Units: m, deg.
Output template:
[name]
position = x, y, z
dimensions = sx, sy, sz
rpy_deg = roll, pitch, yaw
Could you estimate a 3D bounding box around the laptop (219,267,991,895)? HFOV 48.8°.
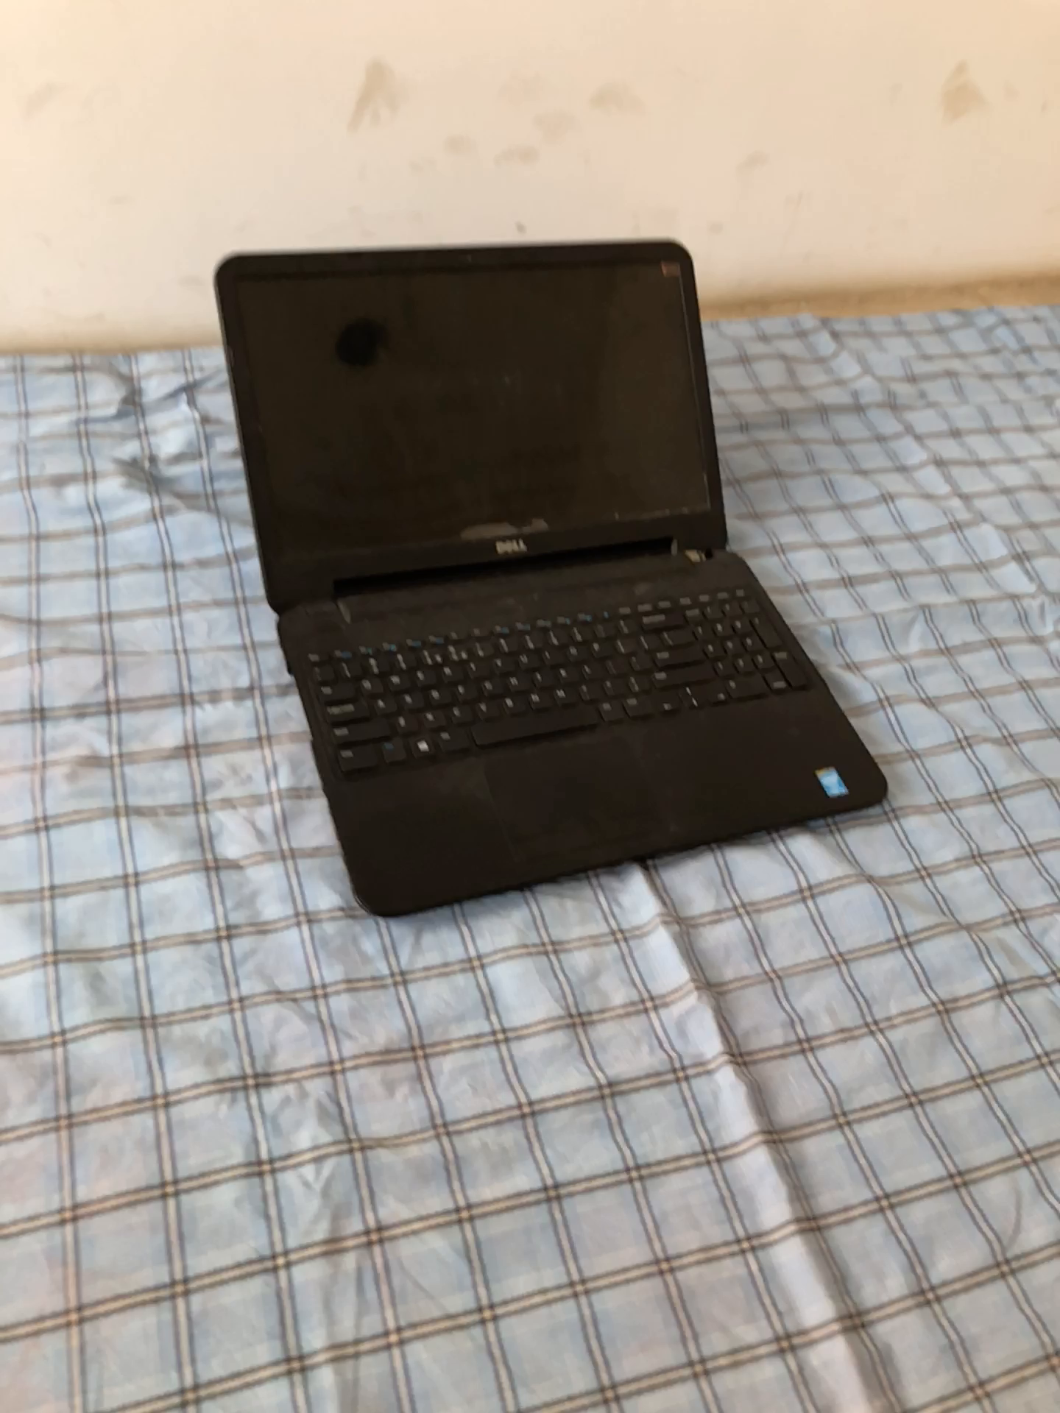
[laptop]
position = 0.014, -0.120, 0.791
dimensions = 0.356, 0.163, 0.415
rpy_deg = -9, 49, -21
